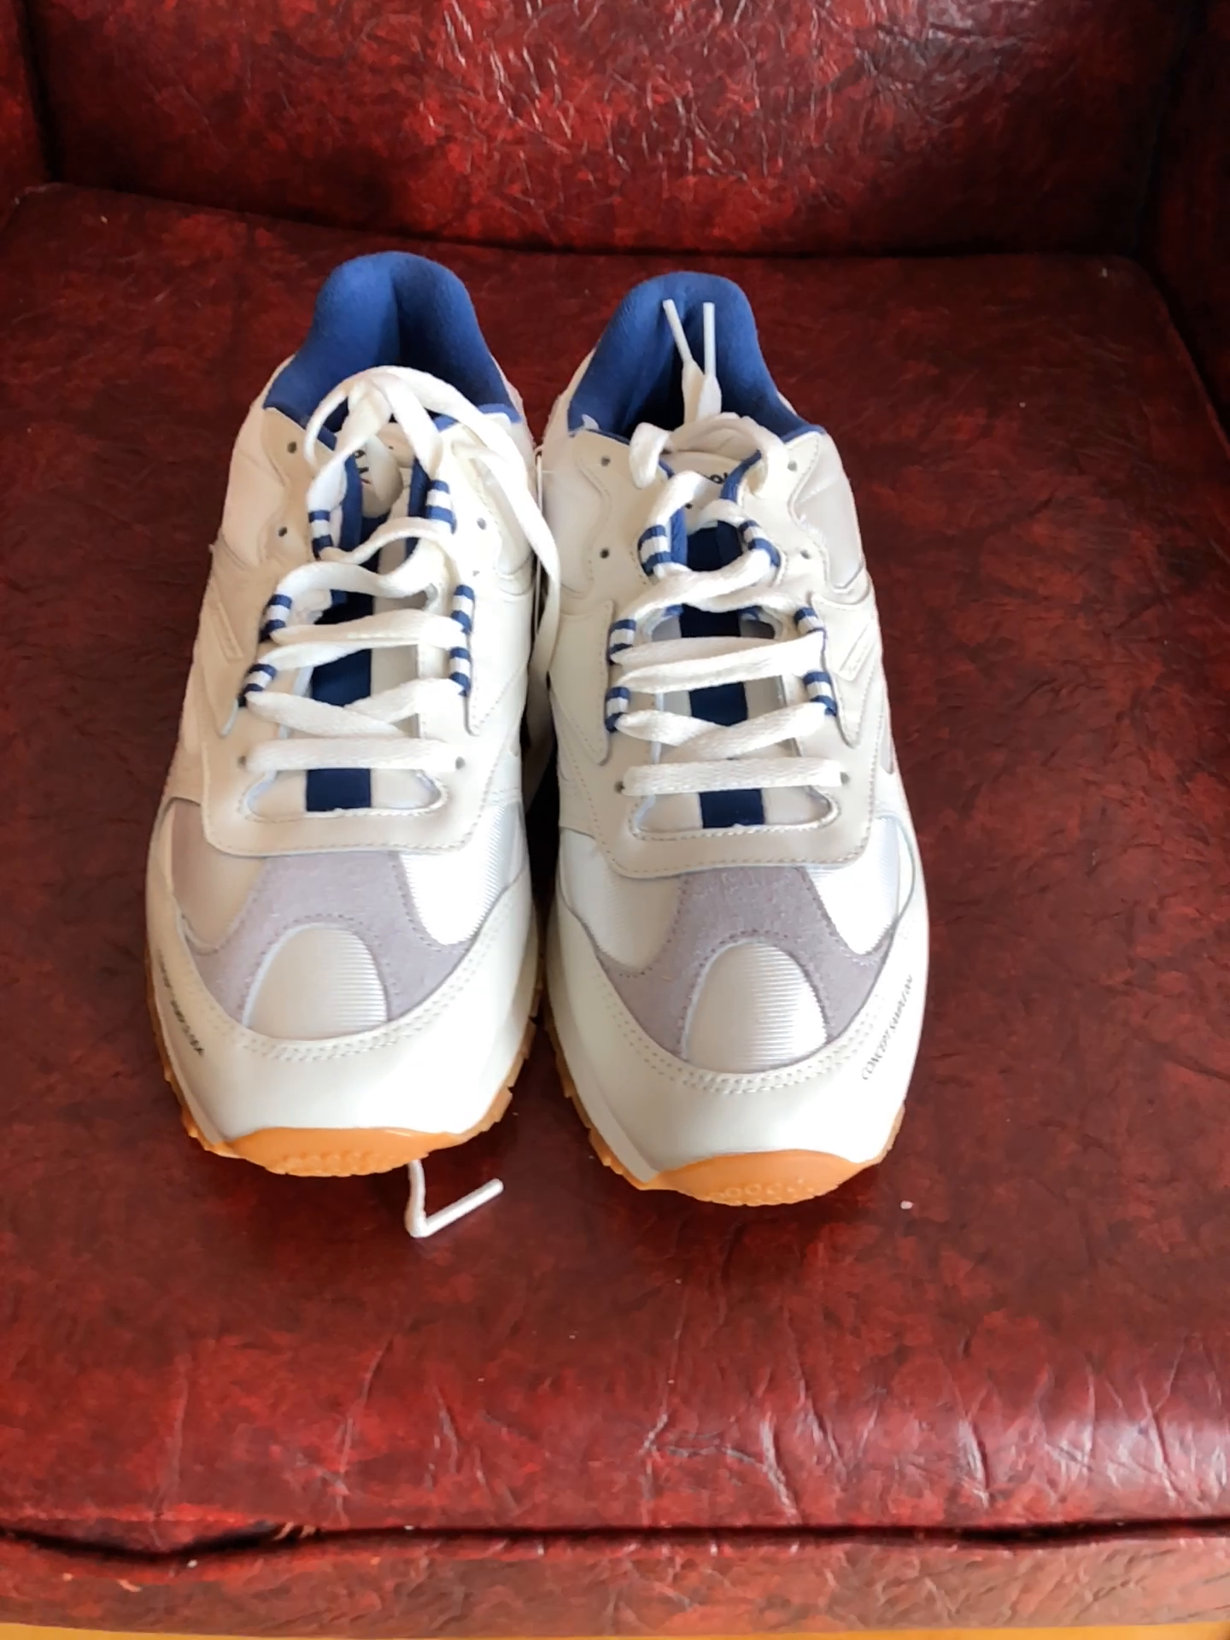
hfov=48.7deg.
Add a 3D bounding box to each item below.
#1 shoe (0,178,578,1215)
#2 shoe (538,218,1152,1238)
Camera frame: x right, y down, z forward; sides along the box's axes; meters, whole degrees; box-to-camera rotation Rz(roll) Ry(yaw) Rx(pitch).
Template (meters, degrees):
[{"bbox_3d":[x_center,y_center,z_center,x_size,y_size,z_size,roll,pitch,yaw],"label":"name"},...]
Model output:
[{"bbox_3d":[-0.072,-0.046,0.365,0.110,0.099,0.272,0,56,-5],"label":"shoe"},{"bbox_3d":[0.038,-0.038,0.373,0.110,0.099,0.272,0,56,-5],"label":"shoe"}]
